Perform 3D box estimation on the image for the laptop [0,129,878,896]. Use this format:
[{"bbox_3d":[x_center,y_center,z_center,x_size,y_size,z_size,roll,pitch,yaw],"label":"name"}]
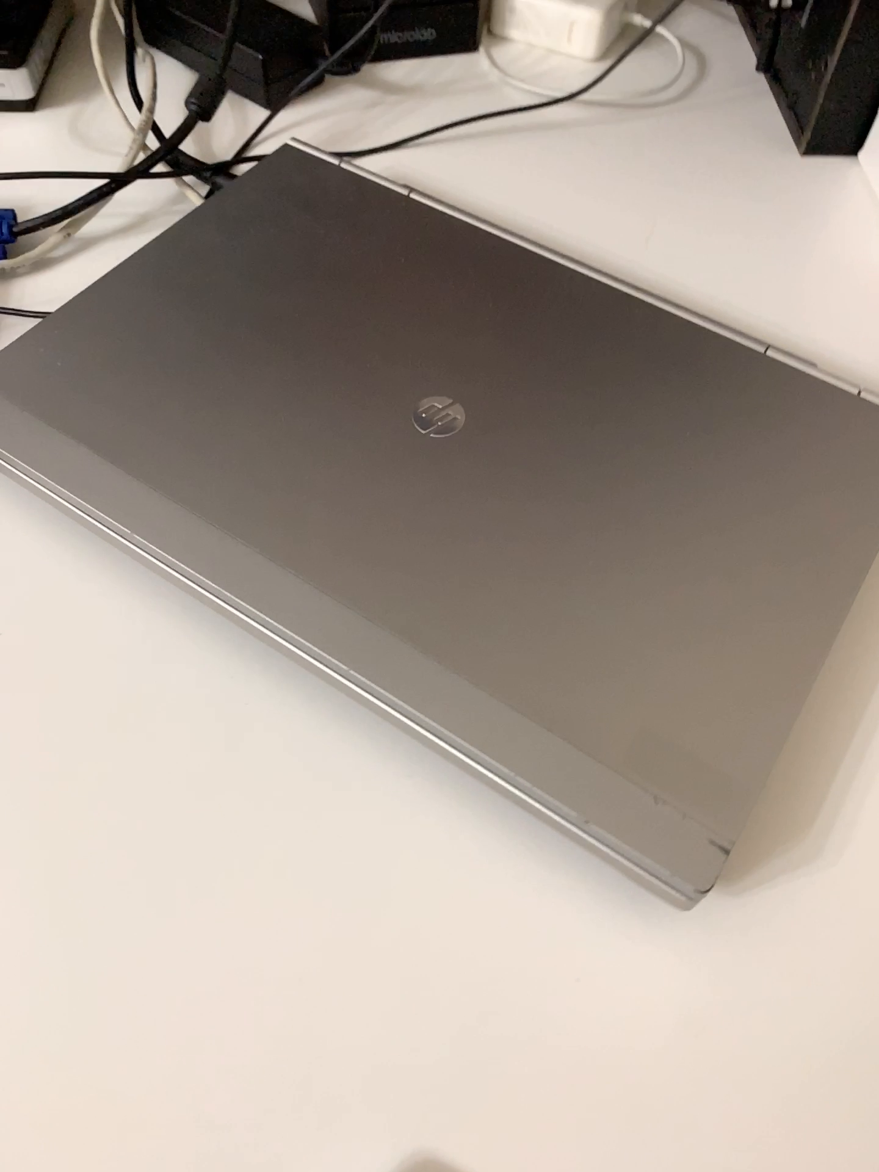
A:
[{"bbox_3d":[-0.008,-0.059,0.330,0.292,0.016,0.192,30,64,16],"label":"laptop"}]
